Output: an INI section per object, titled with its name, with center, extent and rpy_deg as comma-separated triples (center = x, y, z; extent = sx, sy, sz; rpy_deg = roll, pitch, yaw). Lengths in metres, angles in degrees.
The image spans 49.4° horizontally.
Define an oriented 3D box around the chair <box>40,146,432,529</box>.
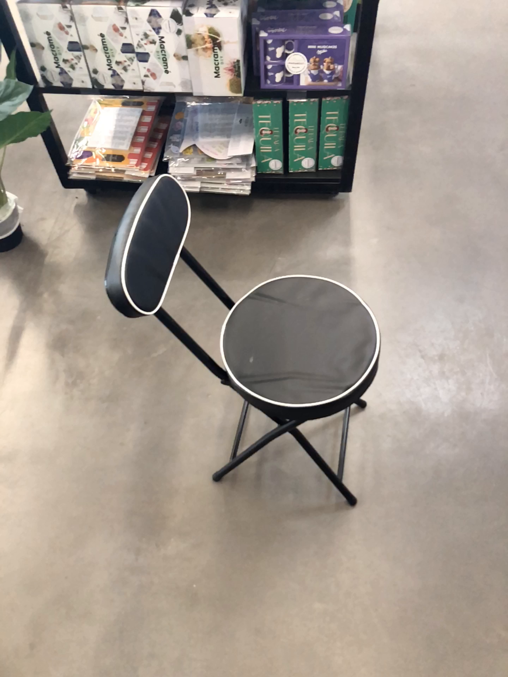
[chair]
center = 0.007, 0.062, 1.118
extent = 0.510, 0.757, 0.342
rpy_deg = 8, 57, 8
